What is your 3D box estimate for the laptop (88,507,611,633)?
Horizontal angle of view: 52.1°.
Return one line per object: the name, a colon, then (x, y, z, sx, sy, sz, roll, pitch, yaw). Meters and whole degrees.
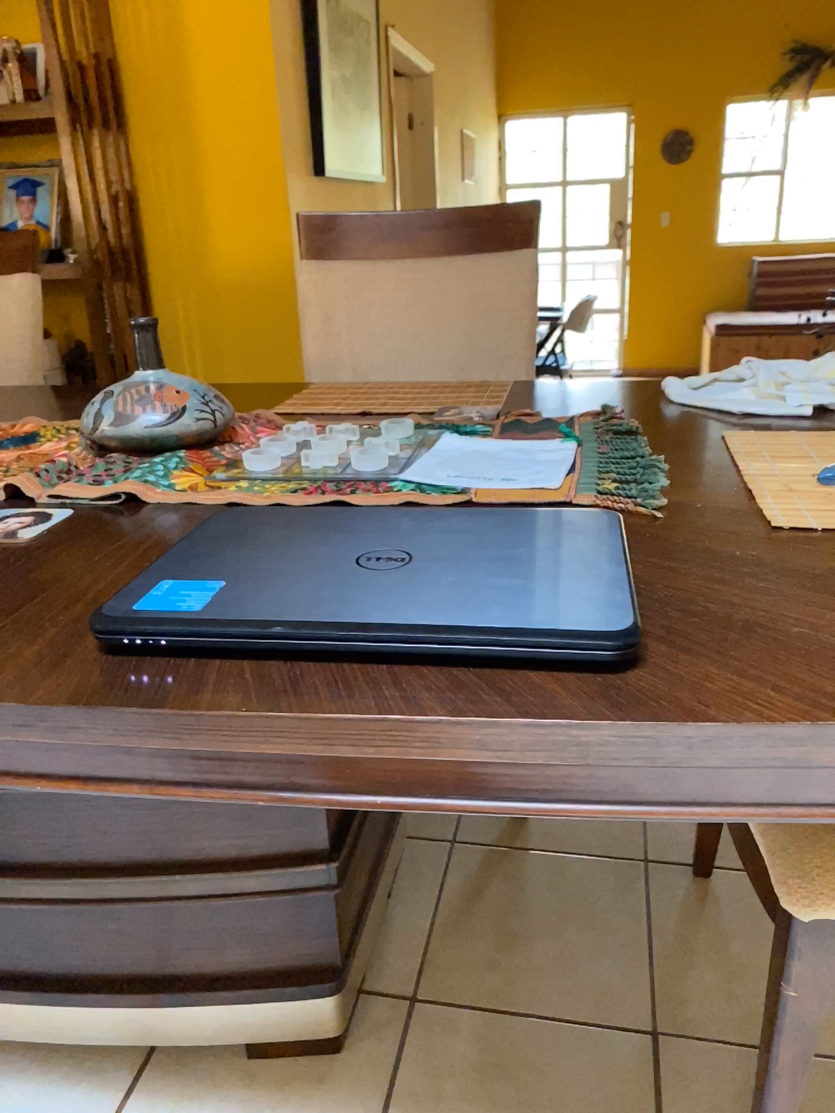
laptop: (-0.033, 0.000, 0.674, 0.352, 0.001, 0.249, 1, 21, 9)
